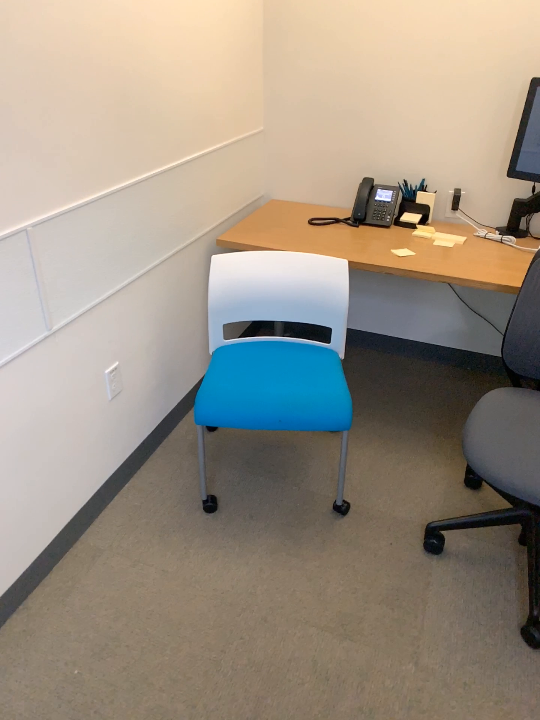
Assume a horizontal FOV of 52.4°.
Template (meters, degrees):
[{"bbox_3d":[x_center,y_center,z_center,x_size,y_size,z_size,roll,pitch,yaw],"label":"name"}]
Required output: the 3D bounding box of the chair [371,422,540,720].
[{"bbox_3d":[0.832,0.860,1.111,0.753,0.885,0.973,24,38,33],"label":"chair"}]

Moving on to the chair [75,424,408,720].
[{"bbox_3d":[-0.008,0.702,1.376,0.530,0.686,0.795,5,31,6],"label":"chair"}]
